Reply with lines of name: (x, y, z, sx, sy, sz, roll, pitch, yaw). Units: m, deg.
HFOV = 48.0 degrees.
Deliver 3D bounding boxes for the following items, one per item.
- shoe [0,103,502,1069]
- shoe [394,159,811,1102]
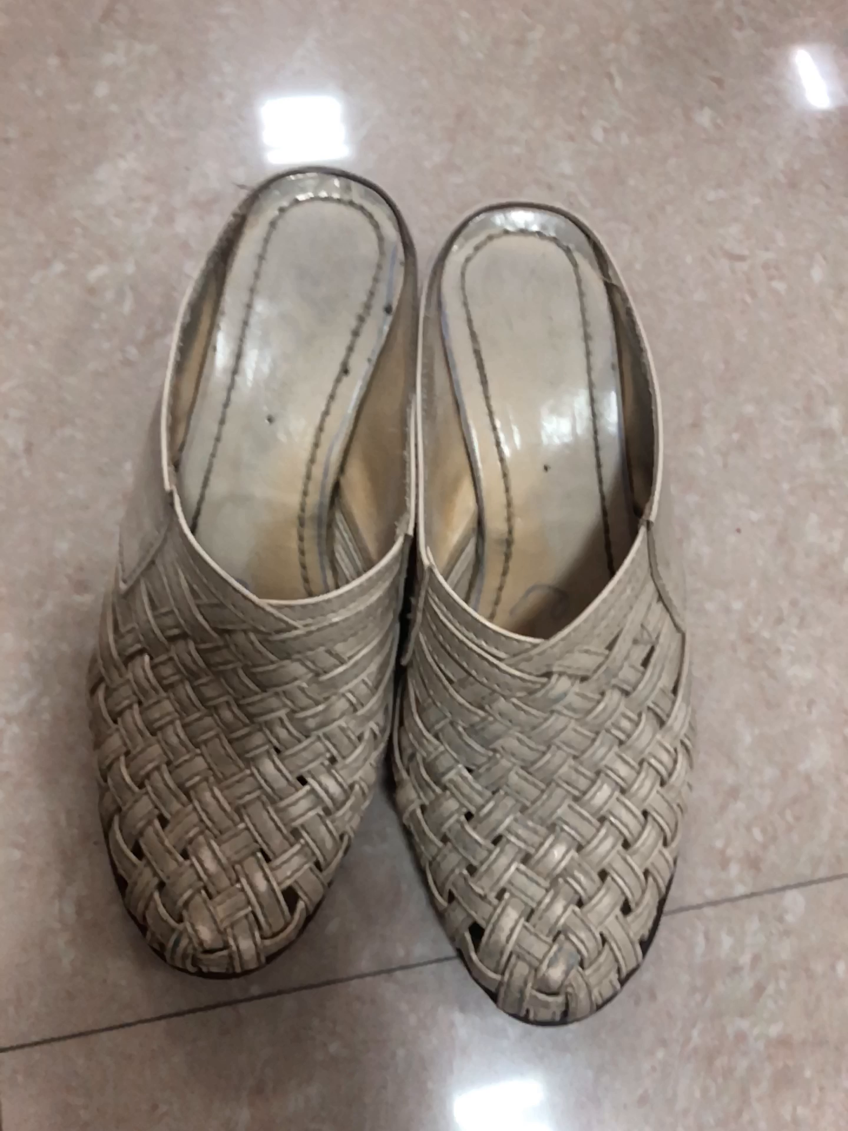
shoe: (-0.039, -0.001, 0.277, 0.090, 0.080, 0.240, 7, 74, 2)
shoe: (0.039, 0.012, 0.278, 0.090, 0.080, 0.240, -1, 74, 2)
